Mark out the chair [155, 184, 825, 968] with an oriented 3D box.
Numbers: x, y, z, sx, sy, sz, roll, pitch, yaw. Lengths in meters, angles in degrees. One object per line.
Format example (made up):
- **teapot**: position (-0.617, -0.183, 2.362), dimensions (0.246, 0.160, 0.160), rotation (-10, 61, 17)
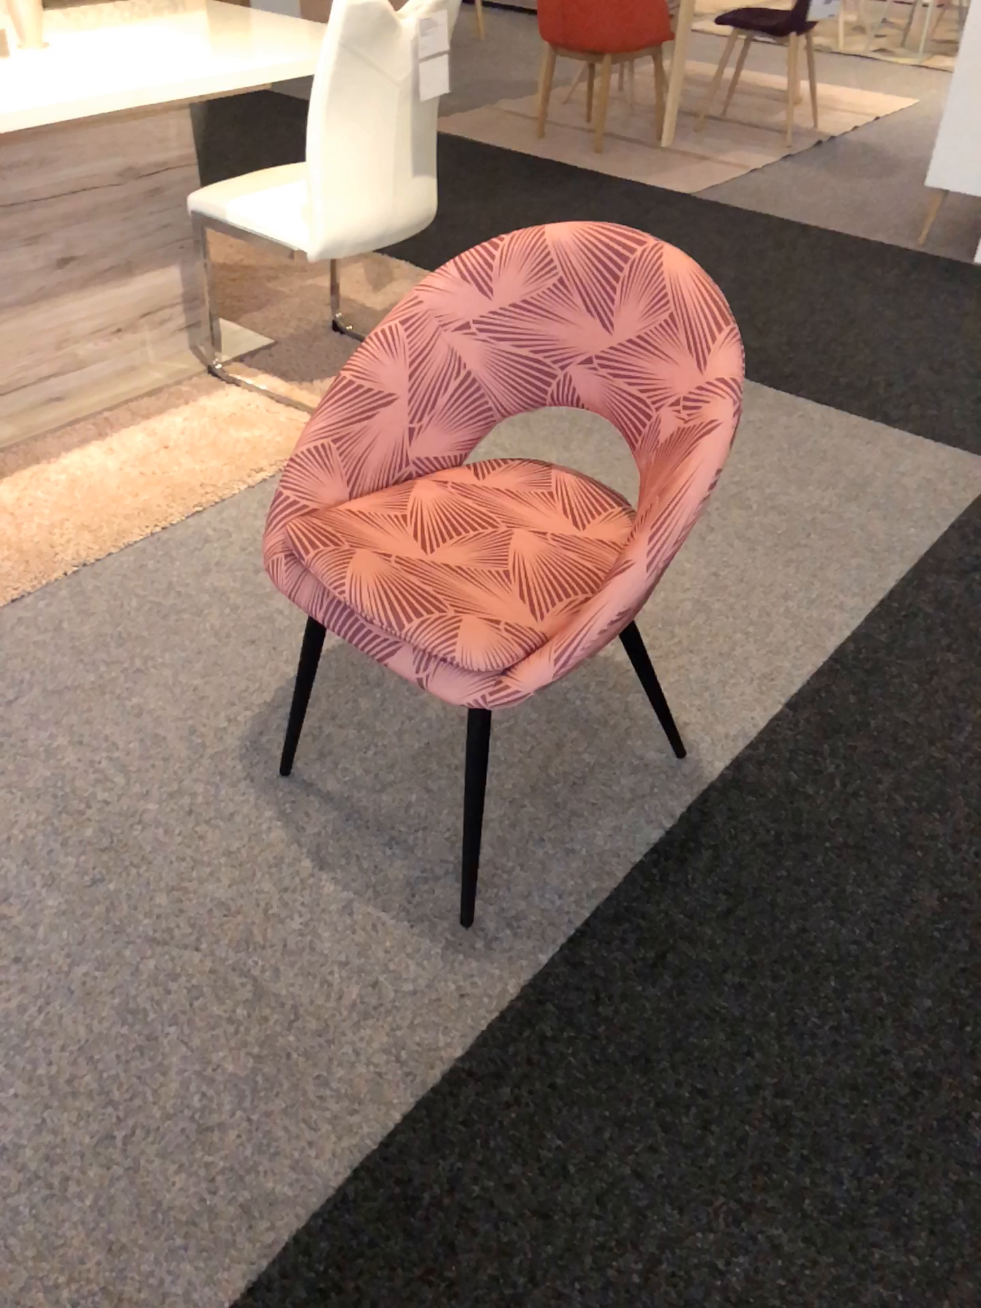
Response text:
- **chair**: position (-0.001, -0.137, 1.523), dimensions (0.530, 0.795, 0.603), rotation (32, 47, 32)
